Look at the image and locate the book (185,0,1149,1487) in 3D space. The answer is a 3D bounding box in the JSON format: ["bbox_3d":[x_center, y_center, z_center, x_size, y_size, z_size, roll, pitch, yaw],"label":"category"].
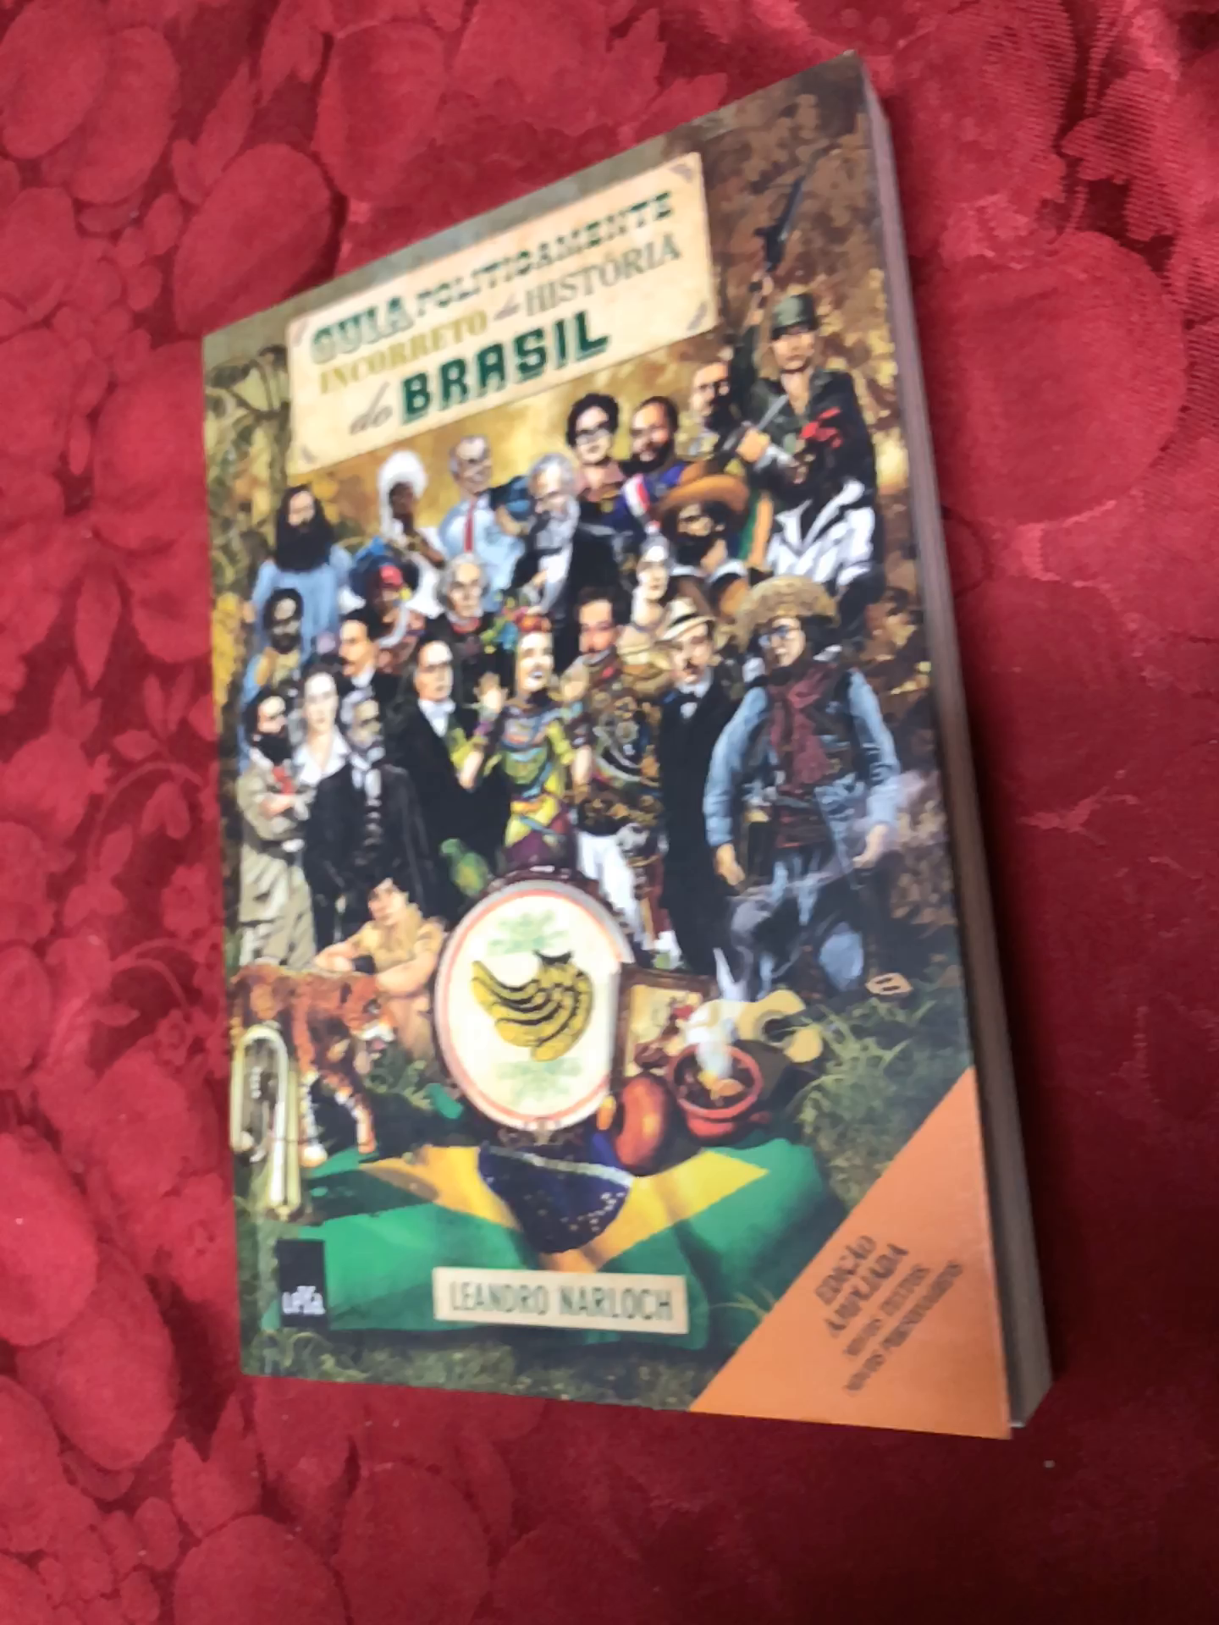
[{"bbox_3d":[-0.004,-0.007,0.255,0.160,0.030,0.230,-10,82,30],"label":"book"}]
